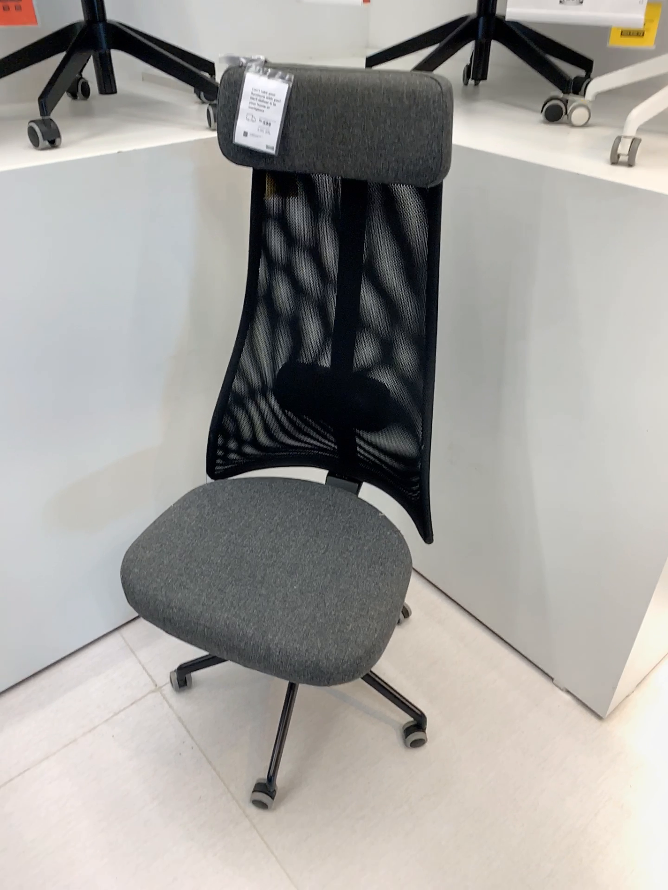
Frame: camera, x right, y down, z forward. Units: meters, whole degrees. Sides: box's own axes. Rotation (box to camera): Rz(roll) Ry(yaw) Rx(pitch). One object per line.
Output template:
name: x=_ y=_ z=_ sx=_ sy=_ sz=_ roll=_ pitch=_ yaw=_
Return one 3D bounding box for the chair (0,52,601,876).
chair: x=-0.053 y=0.032 z=1.286 sx=0.661 sy=1.264 sz=0.672 roll=19 pitch=40 yaw=24
